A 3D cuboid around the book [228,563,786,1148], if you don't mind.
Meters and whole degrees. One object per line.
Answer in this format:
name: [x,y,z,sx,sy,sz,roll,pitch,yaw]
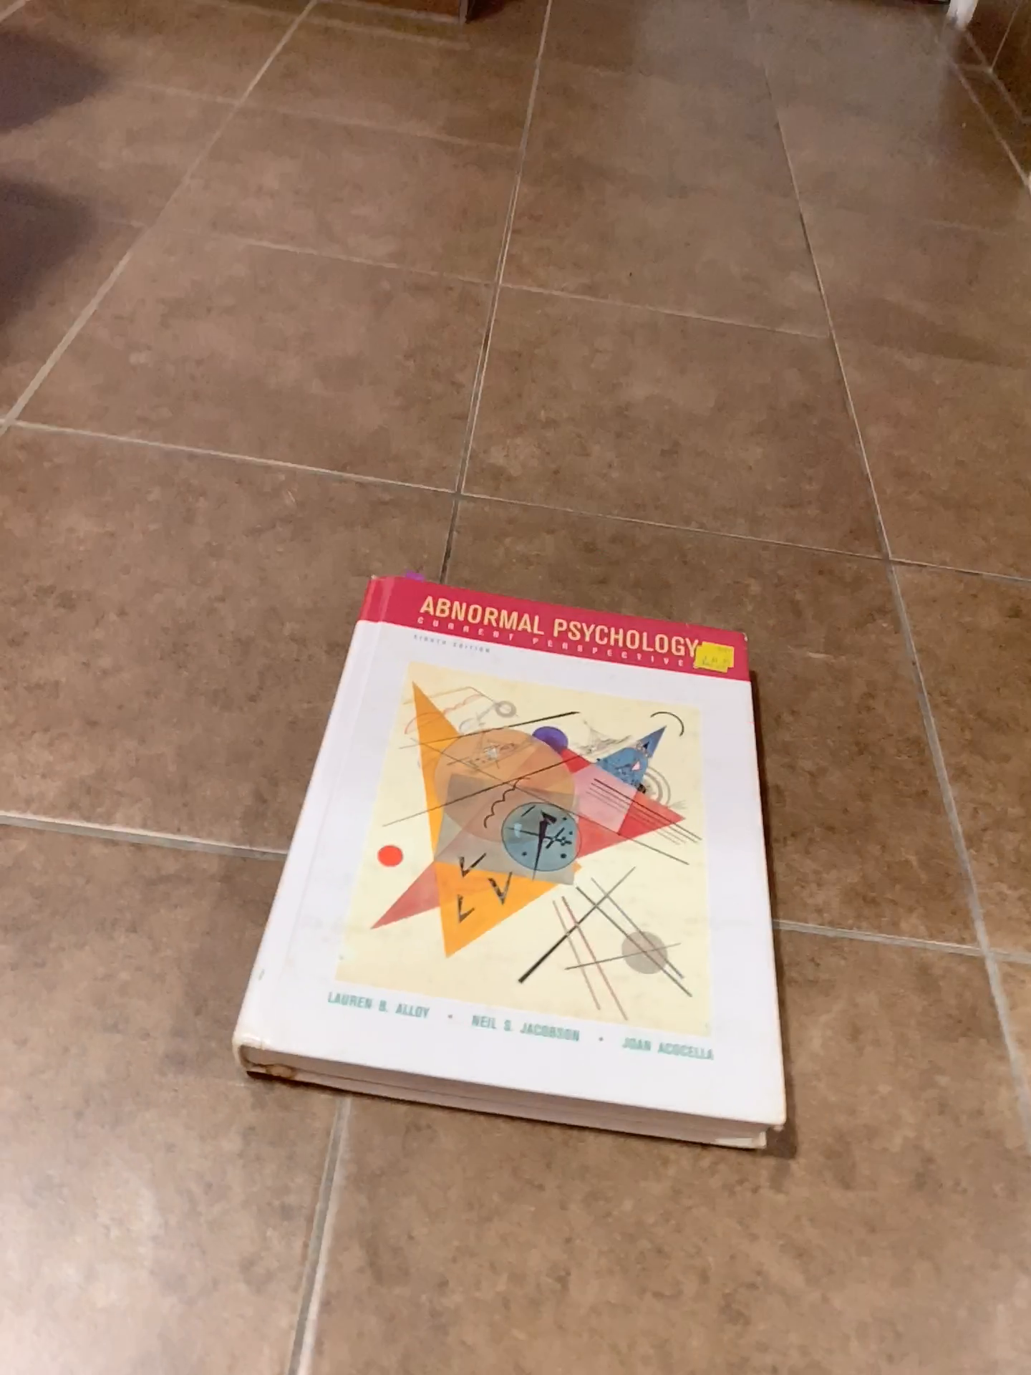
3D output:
book: [0.009,0.061,0.523,0.222,0.032,0.289,9,47,-2]
